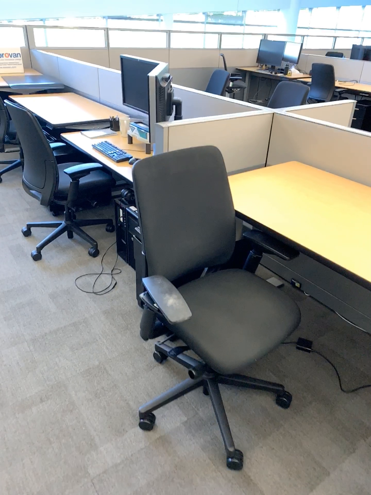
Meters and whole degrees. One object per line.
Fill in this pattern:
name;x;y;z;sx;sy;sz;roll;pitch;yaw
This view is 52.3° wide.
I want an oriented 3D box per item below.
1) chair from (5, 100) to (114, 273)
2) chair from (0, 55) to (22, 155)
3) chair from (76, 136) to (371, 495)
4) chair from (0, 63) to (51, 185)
chair;-0.848;-0.433;2.618;0.460;0.994;0.543;-17;36;-30
chair;-2.381;-1.703;4.494;0.600;0.994;0.563;-12;34;-24
chair;0.084;0.210;1.414;0.631;0.994;0.764;-17;36;-31
chair;-1.748;-1.212;3.682;0.580;0.994;0.523;-18;36;-31
